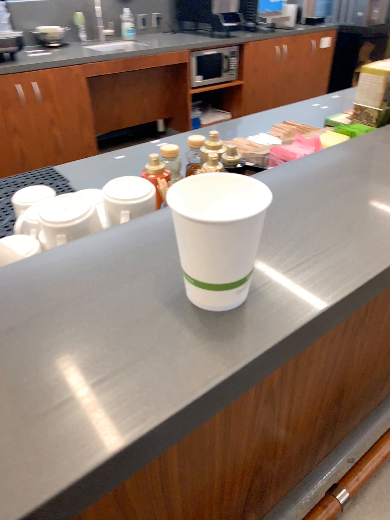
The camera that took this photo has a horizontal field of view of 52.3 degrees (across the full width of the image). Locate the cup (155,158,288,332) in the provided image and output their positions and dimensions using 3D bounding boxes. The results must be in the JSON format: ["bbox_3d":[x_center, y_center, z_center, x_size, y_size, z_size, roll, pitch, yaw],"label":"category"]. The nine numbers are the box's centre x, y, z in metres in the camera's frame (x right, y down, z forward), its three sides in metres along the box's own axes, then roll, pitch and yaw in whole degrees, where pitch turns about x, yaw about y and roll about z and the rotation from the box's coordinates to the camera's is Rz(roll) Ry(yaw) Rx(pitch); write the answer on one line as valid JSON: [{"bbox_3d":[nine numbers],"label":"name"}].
[{"bbox_3d":[0.024,-0.017,0.371,0.080,0.119,0.080,-1,36,0],"label":"cup"}]
